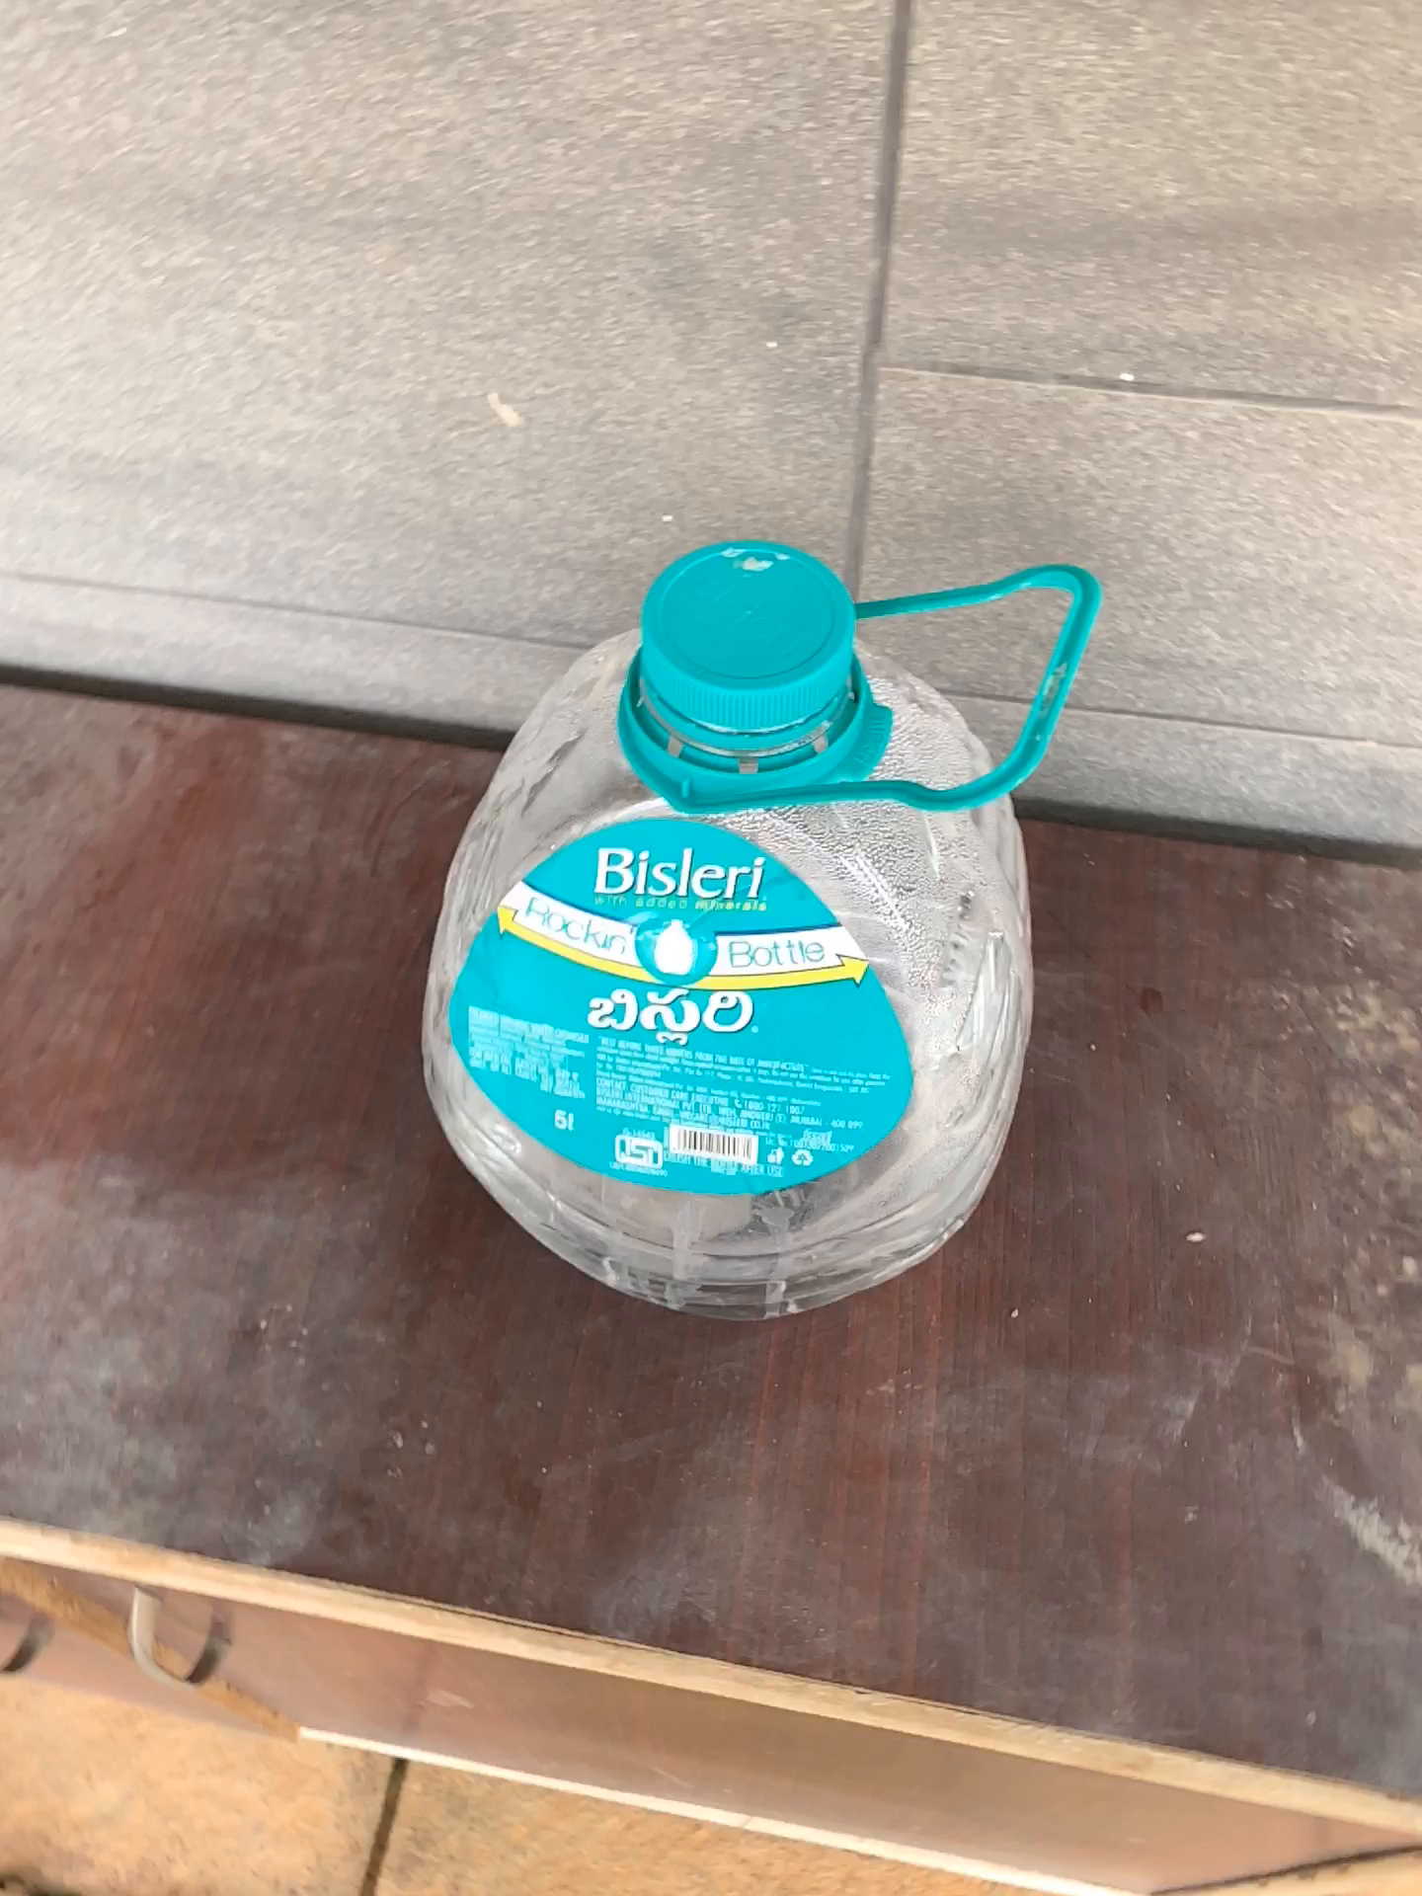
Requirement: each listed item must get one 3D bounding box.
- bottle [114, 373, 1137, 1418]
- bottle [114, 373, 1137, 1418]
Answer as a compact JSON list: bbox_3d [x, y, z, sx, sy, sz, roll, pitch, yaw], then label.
[{"bbox_3d":[-0.005,-0.007,0.428,0.200,0.219,0.180,9,55,7],"label":"bottle"},{"bbox_3d":[-0.005,-0.007,0.428,0.200,0.219,0.180,9,55,7],"label":"bottle"}]
